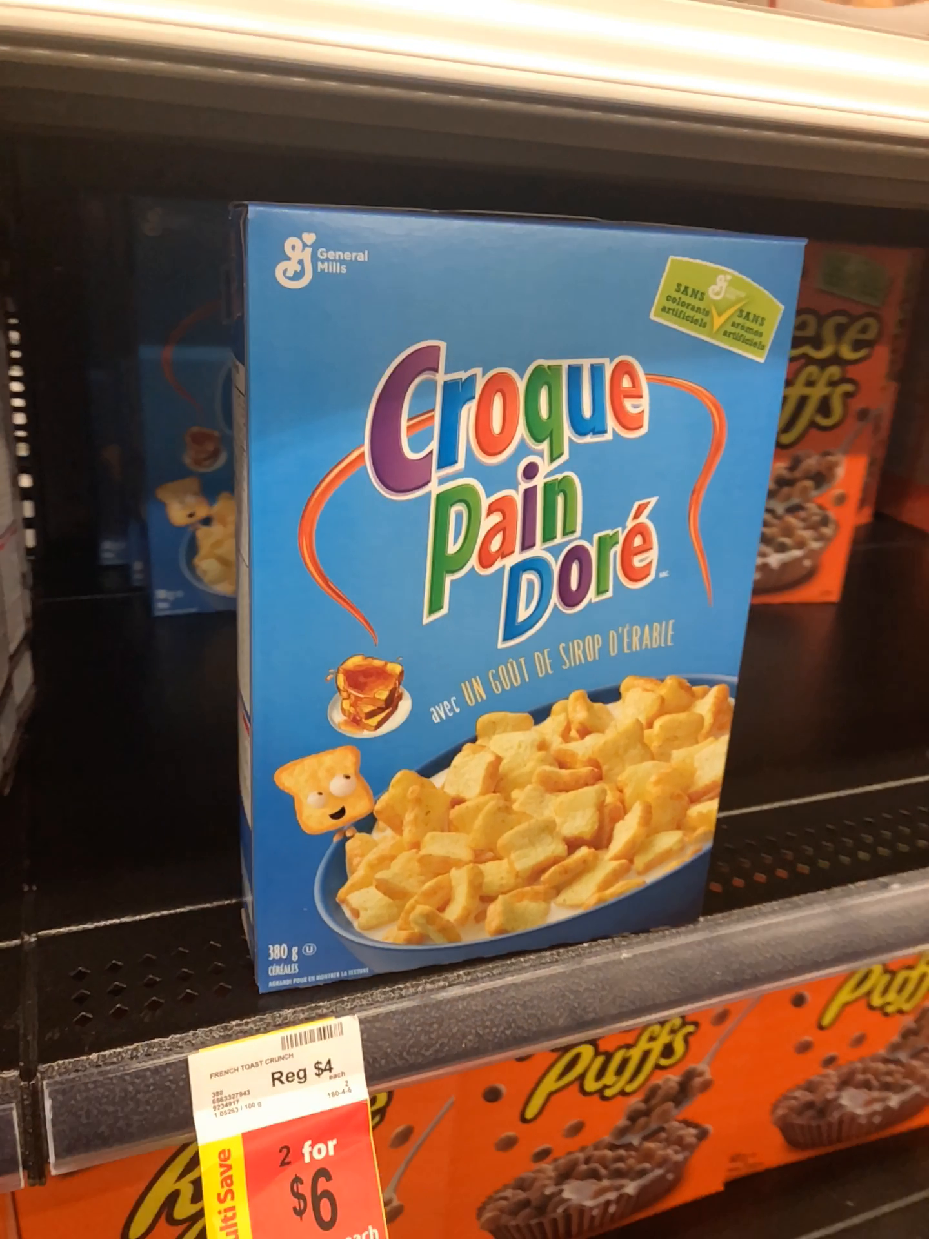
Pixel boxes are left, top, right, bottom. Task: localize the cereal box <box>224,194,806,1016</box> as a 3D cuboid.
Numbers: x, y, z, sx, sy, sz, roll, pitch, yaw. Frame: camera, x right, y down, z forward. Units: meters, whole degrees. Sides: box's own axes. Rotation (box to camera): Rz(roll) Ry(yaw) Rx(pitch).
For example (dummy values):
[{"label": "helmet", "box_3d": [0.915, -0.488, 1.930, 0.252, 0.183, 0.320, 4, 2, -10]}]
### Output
[{"label": "cereal box", "box_3d": [0.011, -0.001, 0.412, 0.200, 0.299, 0.060, -3, 19, -17]}]
